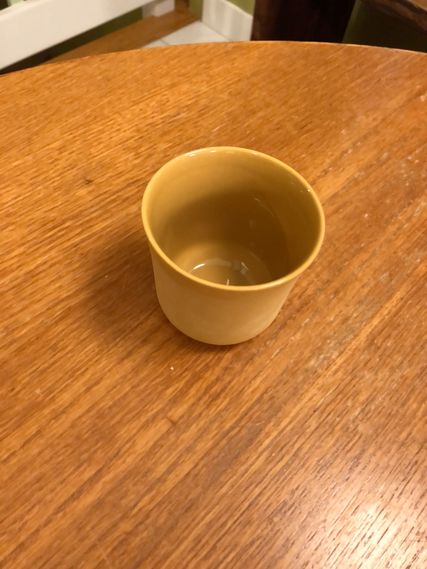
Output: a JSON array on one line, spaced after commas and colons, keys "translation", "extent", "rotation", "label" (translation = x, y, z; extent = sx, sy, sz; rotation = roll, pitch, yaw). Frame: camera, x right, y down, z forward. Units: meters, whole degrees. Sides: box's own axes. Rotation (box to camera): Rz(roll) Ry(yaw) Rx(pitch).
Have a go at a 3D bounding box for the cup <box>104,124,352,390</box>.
[{"translation": [0.006, -0.012, 0.224], "extent": [0.077, 0.073, 0.074], "rotation": [2, 58, -4], "label": "cup"}]
